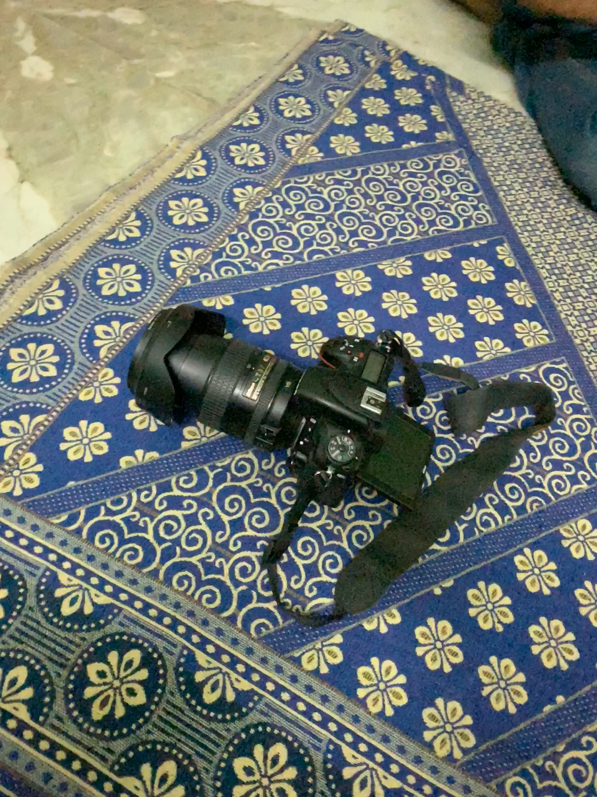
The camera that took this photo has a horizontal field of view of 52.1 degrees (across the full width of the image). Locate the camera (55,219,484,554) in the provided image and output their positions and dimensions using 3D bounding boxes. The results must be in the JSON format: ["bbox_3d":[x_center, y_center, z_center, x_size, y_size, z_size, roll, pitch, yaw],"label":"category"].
[{"bbox_3d":[-0.021,-0.013,0.552,0.320,0.110,0.160,23,58,4],"label":"camera"}]
